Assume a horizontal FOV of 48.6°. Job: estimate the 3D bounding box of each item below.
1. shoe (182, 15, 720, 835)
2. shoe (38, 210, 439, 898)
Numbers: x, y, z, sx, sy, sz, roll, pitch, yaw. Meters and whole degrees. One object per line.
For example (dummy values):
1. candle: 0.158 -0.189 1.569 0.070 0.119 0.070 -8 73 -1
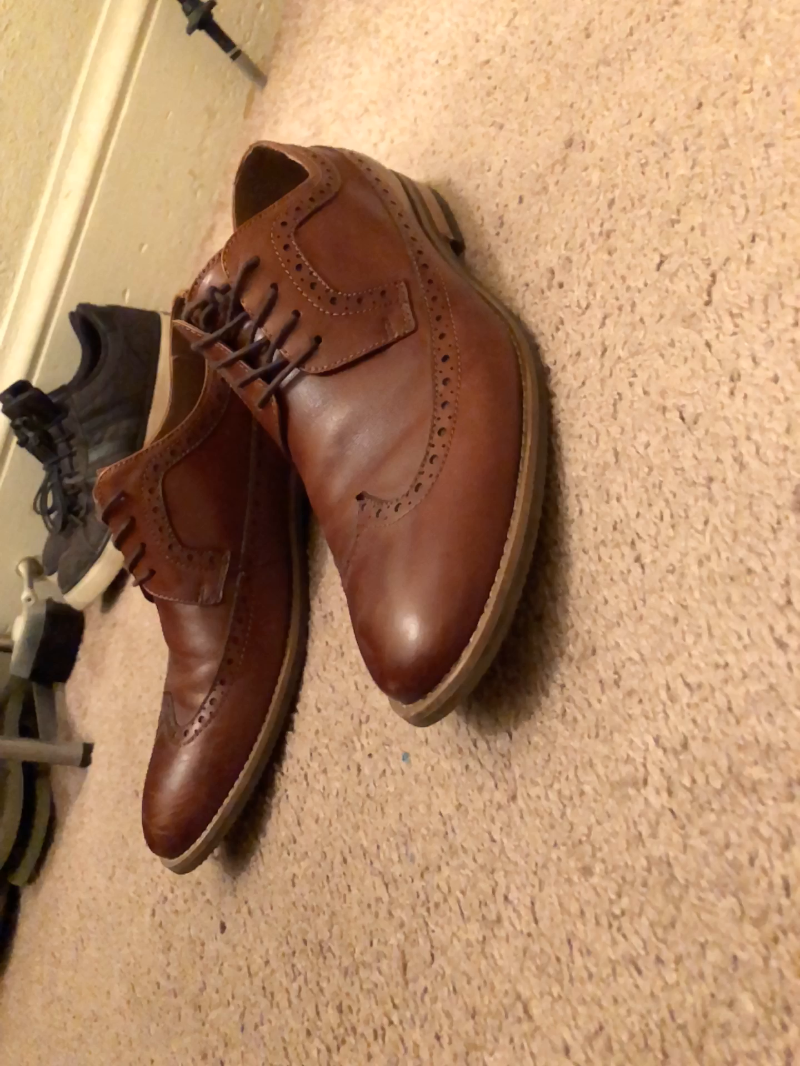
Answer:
1. shoe: -0.003 -0.058 0.357 0.115 0.114 0.311 -47 38 40
2. shoe: -0.083 0.013 0.471 0.115 0.114 0.310 -13 64 58
